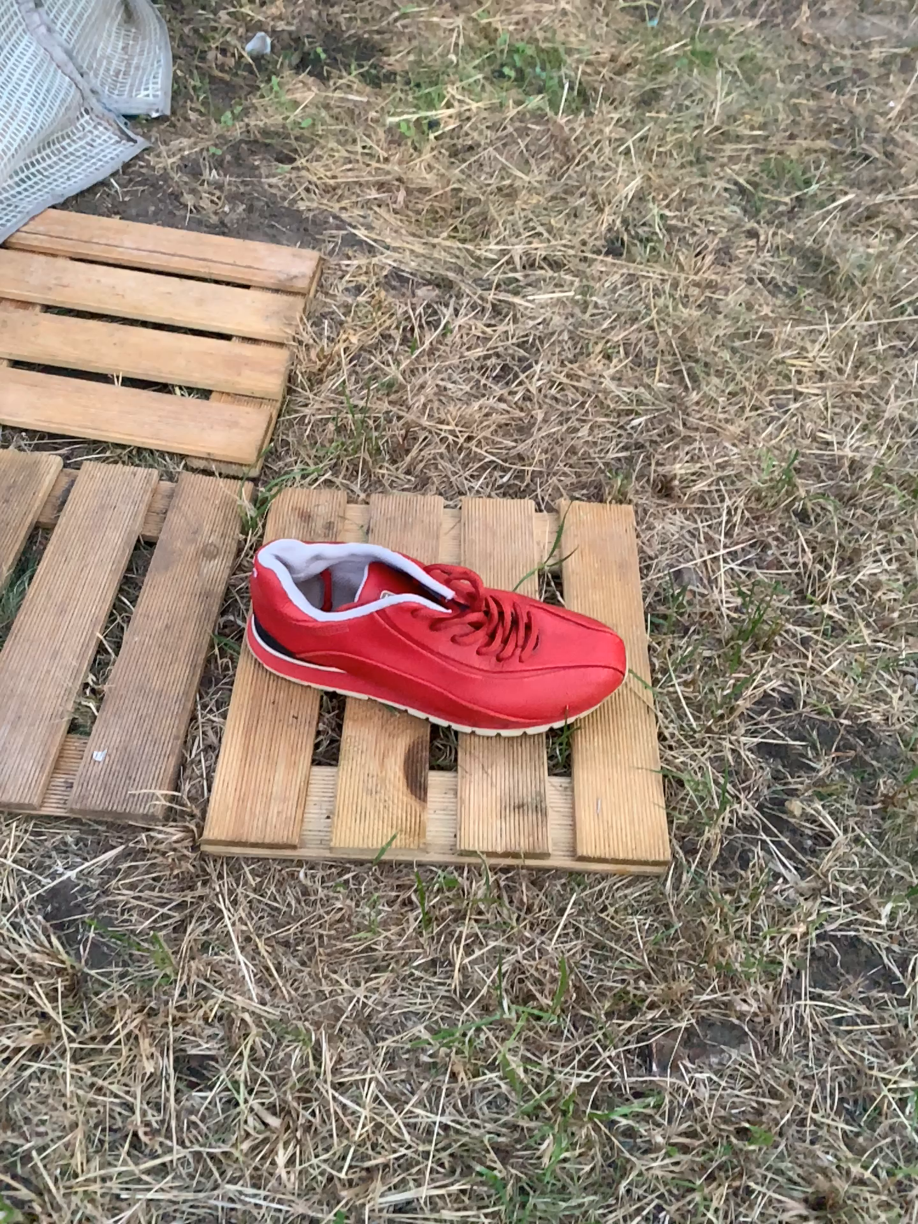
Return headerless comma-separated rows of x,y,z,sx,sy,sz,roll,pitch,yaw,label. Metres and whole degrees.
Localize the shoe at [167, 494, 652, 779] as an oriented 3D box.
-0.025,0.017,0.620,0.280,0.129,0.101,7,54,8,shoe
